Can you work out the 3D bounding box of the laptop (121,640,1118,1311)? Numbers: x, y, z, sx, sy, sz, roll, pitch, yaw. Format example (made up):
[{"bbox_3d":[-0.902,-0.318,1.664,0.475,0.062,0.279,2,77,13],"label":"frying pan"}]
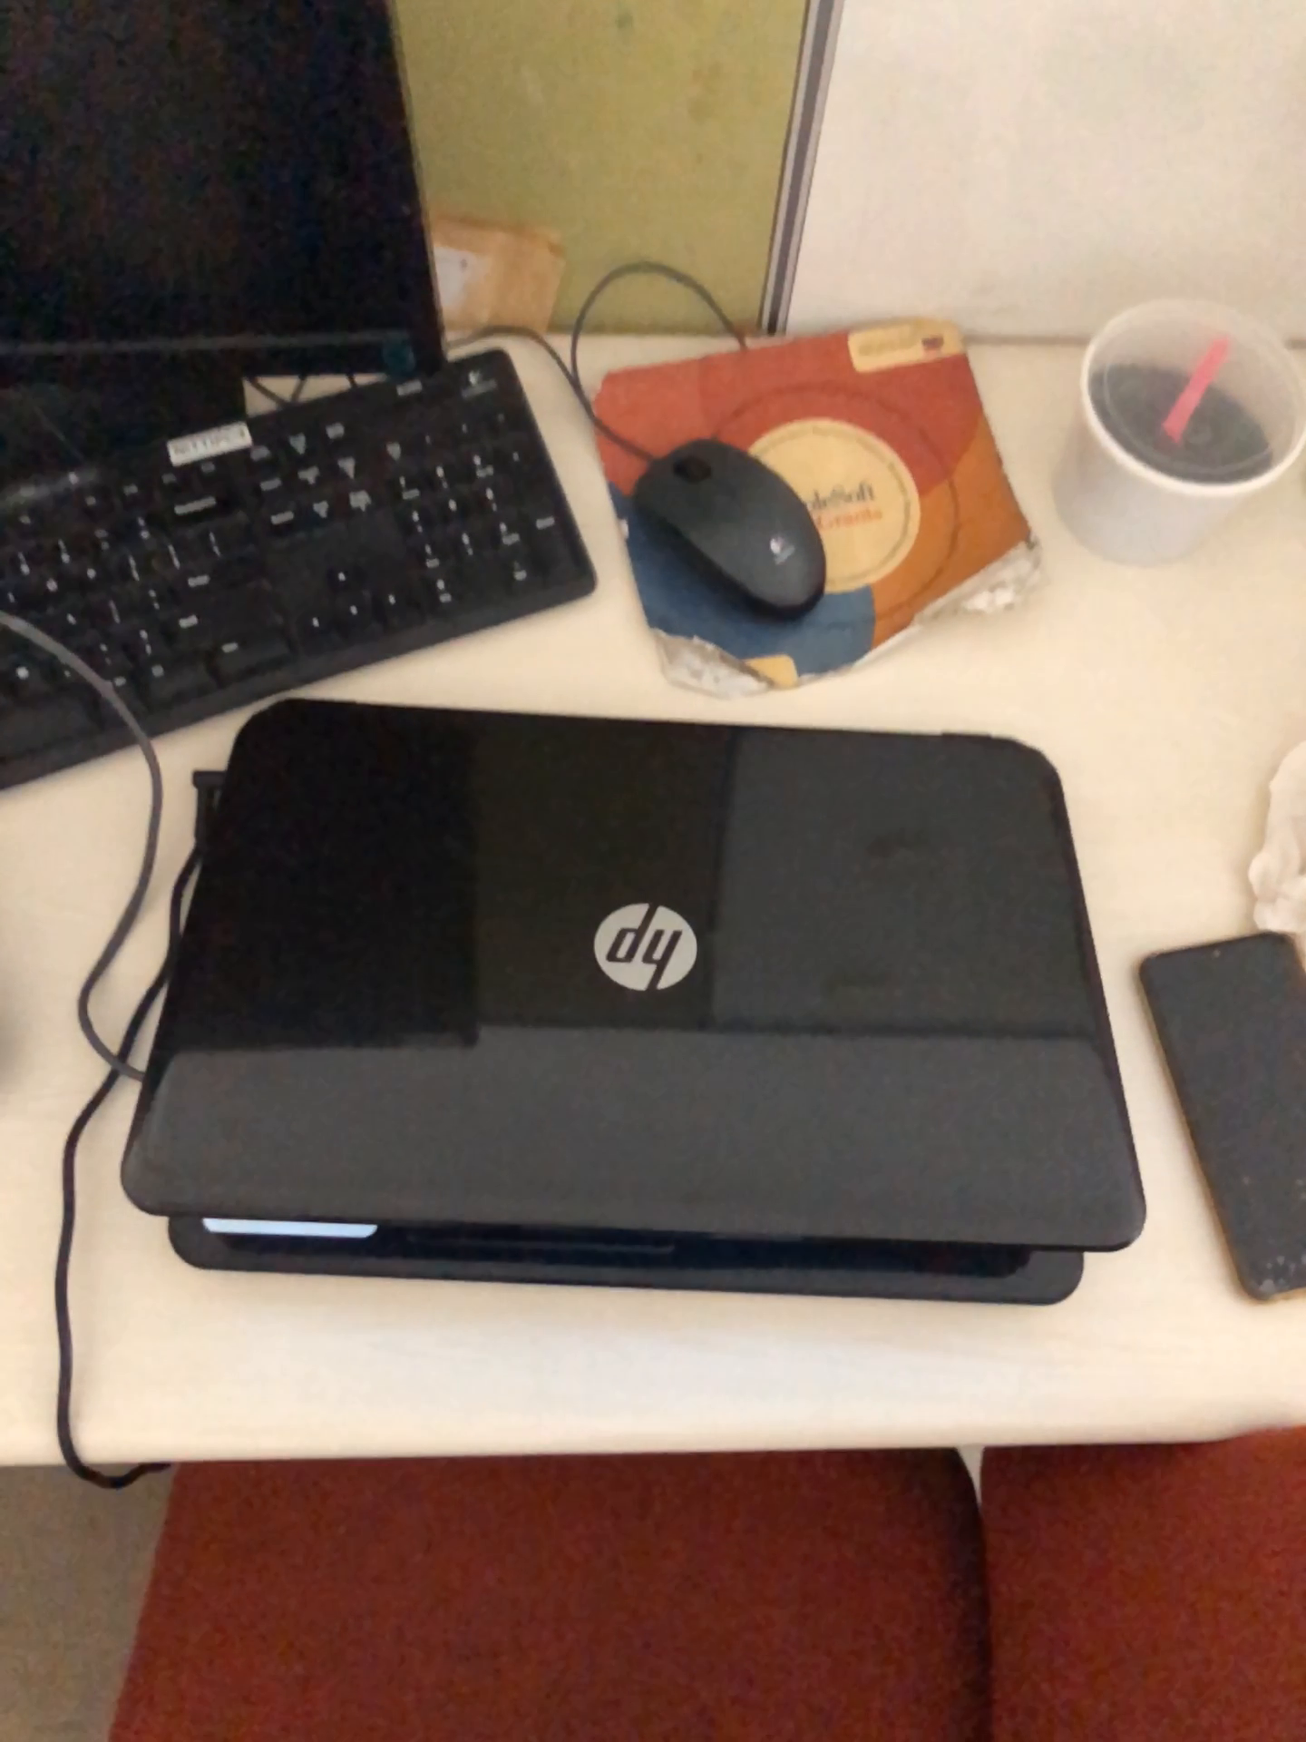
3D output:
[{"bbox_3d":[-0.004,0.041,0.581,0.350,0.072,0.246,3,70,-1],"label":"laptop"}]
